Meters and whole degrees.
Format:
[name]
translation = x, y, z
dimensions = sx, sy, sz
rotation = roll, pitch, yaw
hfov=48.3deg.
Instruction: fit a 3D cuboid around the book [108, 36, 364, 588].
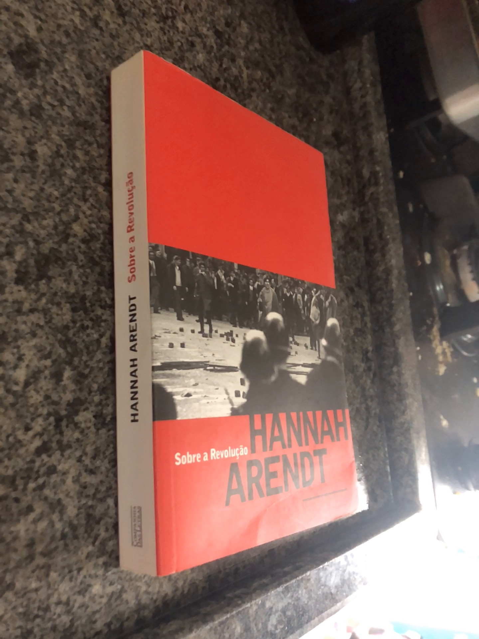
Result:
[book]
translation = 0.006, -0.004, 0.292
dimensions = 0.161, 0.030, 0.234
rotation = 8, 76, -49
